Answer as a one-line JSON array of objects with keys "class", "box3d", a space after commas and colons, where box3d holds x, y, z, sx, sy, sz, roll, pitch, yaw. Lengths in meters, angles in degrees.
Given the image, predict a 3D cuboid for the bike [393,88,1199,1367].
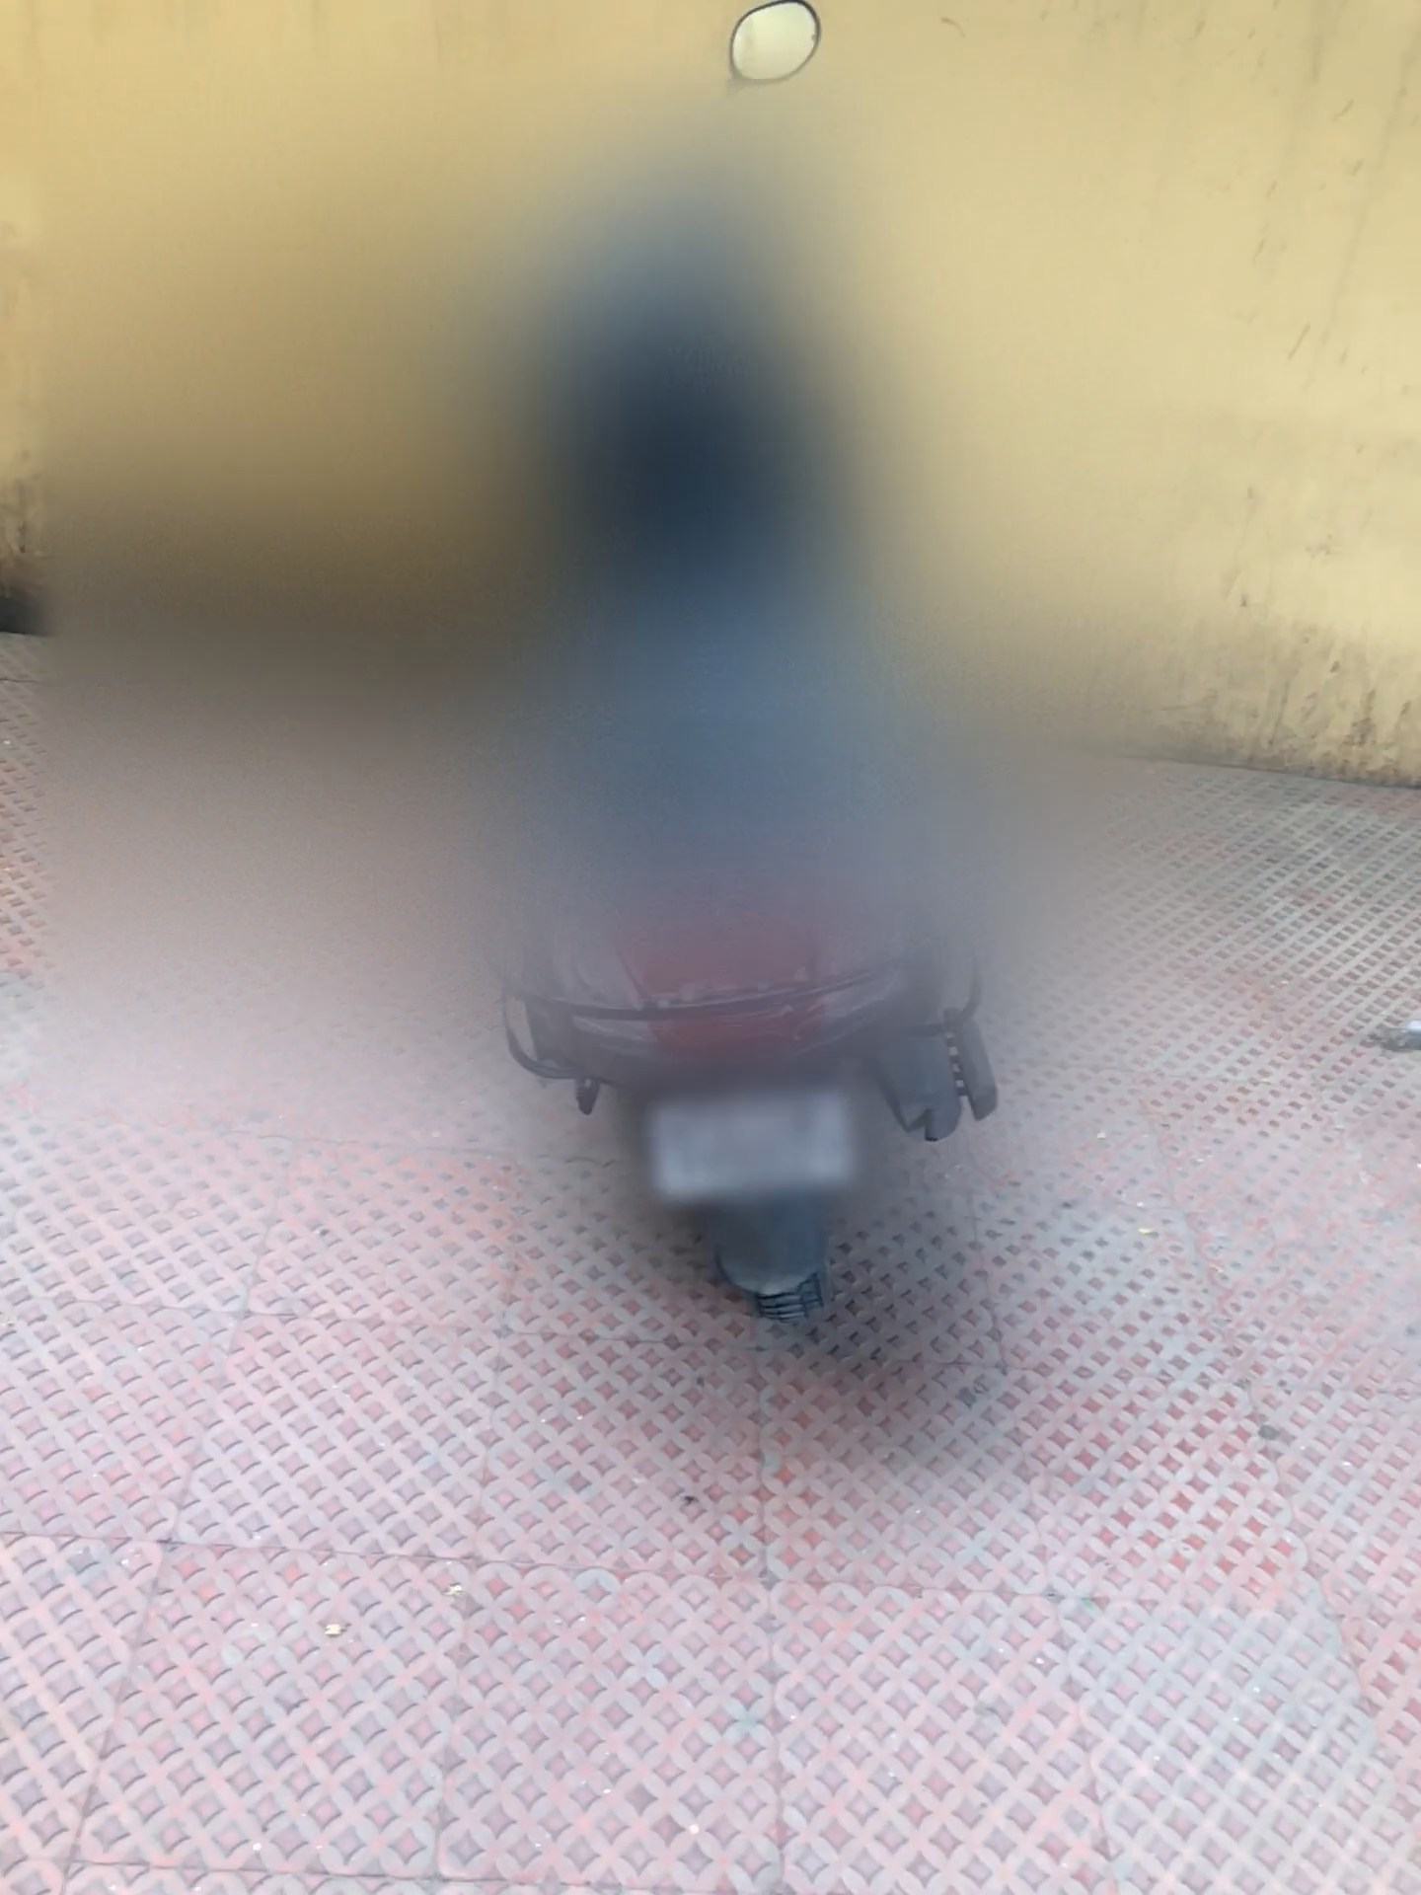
[{"class": "bike", "box3d": [-0.068, -0.426, 2.066, 0.593, 1.044, 1.594, 2, 34, -9]}]
